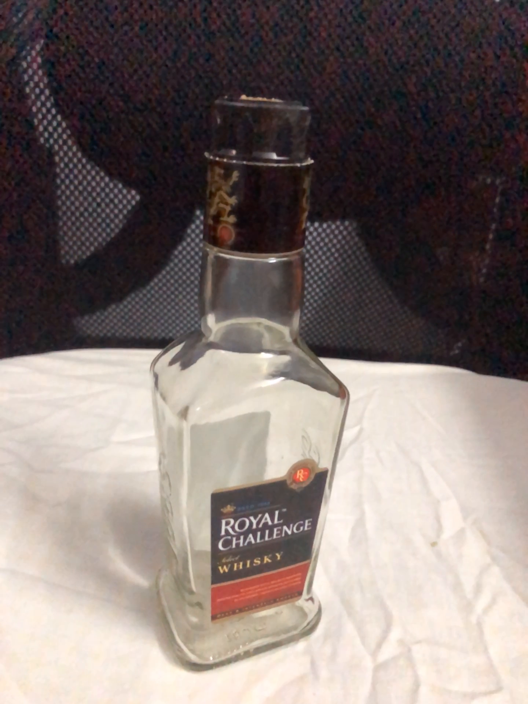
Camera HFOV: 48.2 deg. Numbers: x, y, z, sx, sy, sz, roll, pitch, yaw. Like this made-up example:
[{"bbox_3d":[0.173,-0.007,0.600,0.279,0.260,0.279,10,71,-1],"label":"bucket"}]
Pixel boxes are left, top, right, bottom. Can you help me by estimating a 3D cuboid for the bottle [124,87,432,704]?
[{"bbox_3d":[-0.005,0.022,0.202,0.070,0.199,0.050,-6,27,-23],"label":"bottle"}]
